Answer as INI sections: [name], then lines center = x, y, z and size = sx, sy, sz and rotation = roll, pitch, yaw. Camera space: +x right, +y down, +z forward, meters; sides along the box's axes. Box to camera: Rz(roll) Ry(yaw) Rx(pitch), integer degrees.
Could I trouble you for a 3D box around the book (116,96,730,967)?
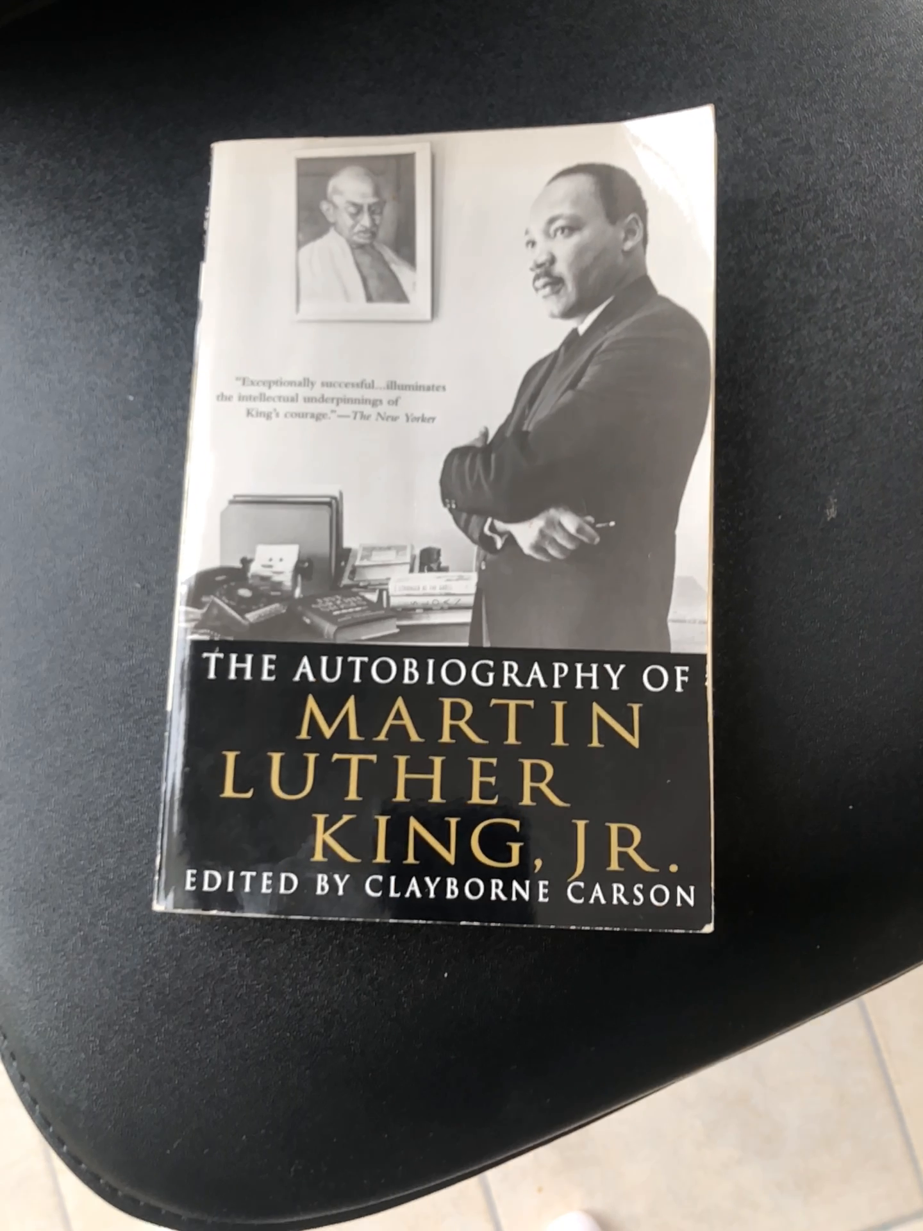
[book]
center = -0.007, -0.026, 0.305
size = 0.160, 0.050, 0.230
rotation = 2, 84, 9
